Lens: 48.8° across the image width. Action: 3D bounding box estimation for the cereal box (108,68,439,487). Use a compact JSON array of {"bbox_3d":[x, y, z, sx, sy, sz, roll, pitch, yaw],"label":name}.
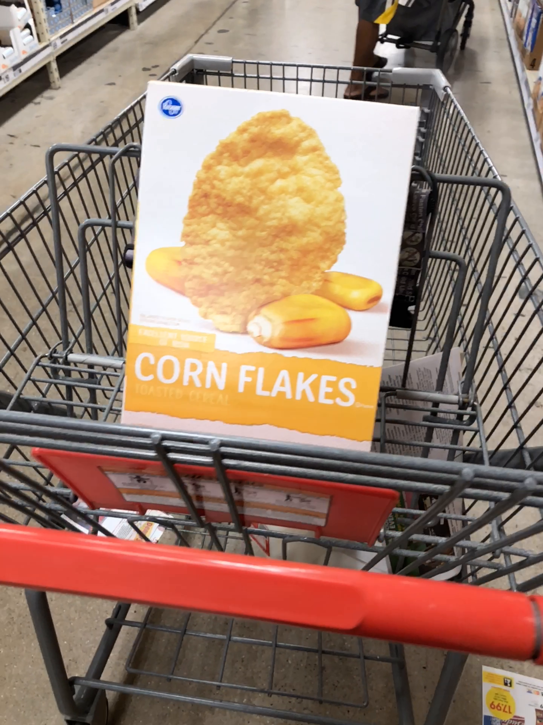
[{"bbox_3d":[-0.004,-0.067,0.503,0.230,0.300,0.080,6,10,5],"label":"cereal box"}]
